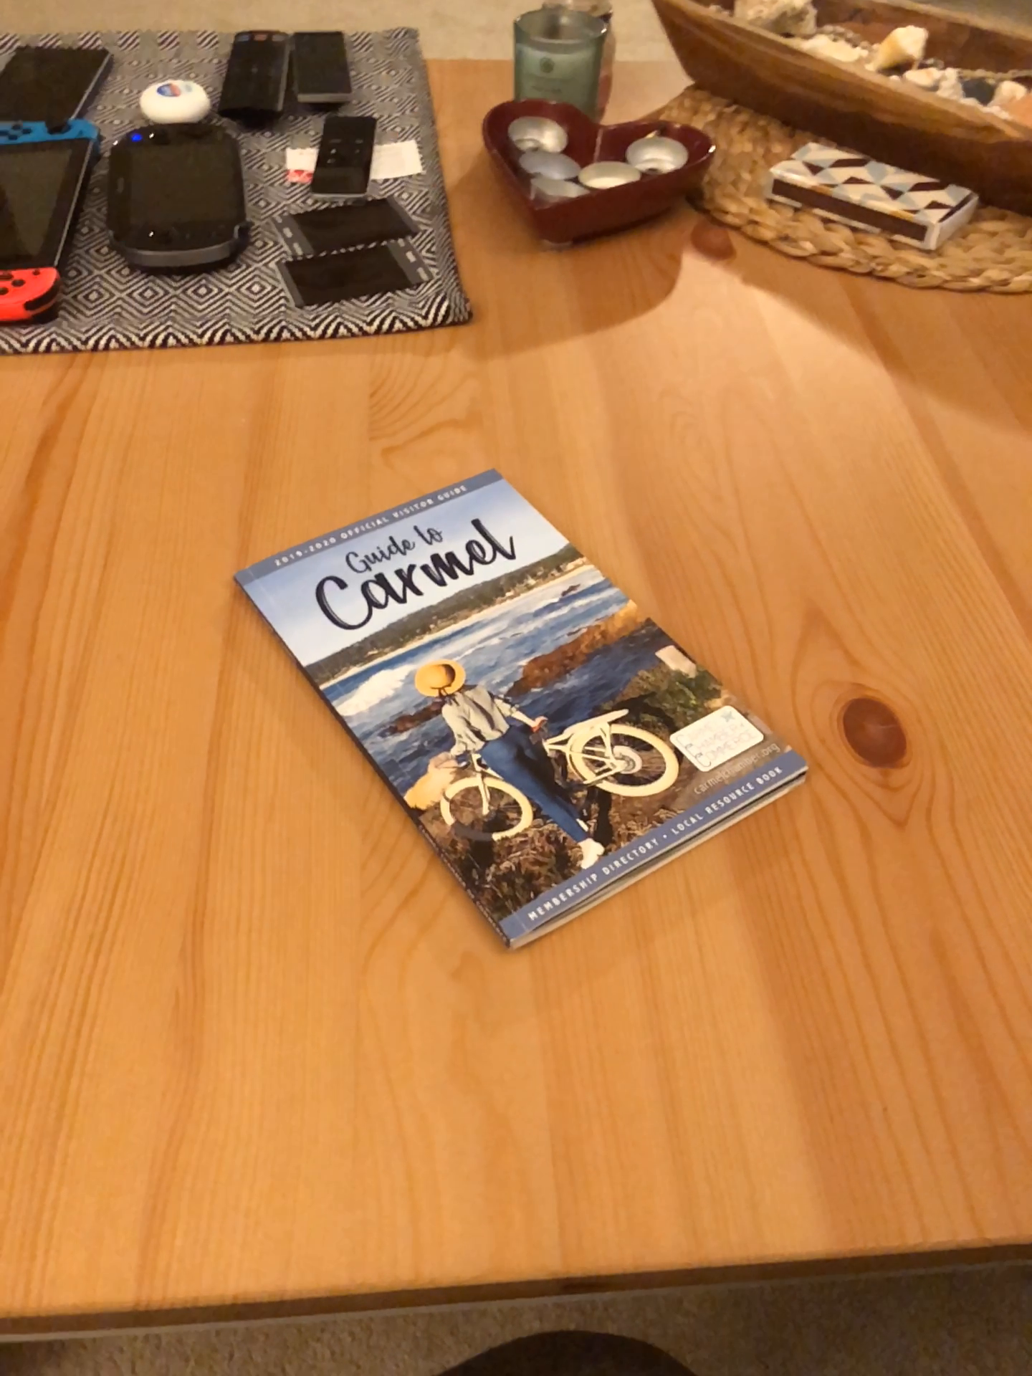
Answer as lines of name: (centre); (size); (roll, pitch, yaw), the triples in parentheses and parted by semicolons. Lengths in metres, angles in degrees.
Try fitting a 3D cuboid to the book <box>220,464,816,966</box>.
book: (-0.007, -0.007, 0.443); (0.138, 0.010, 0.208); (-26, 54, -24)
